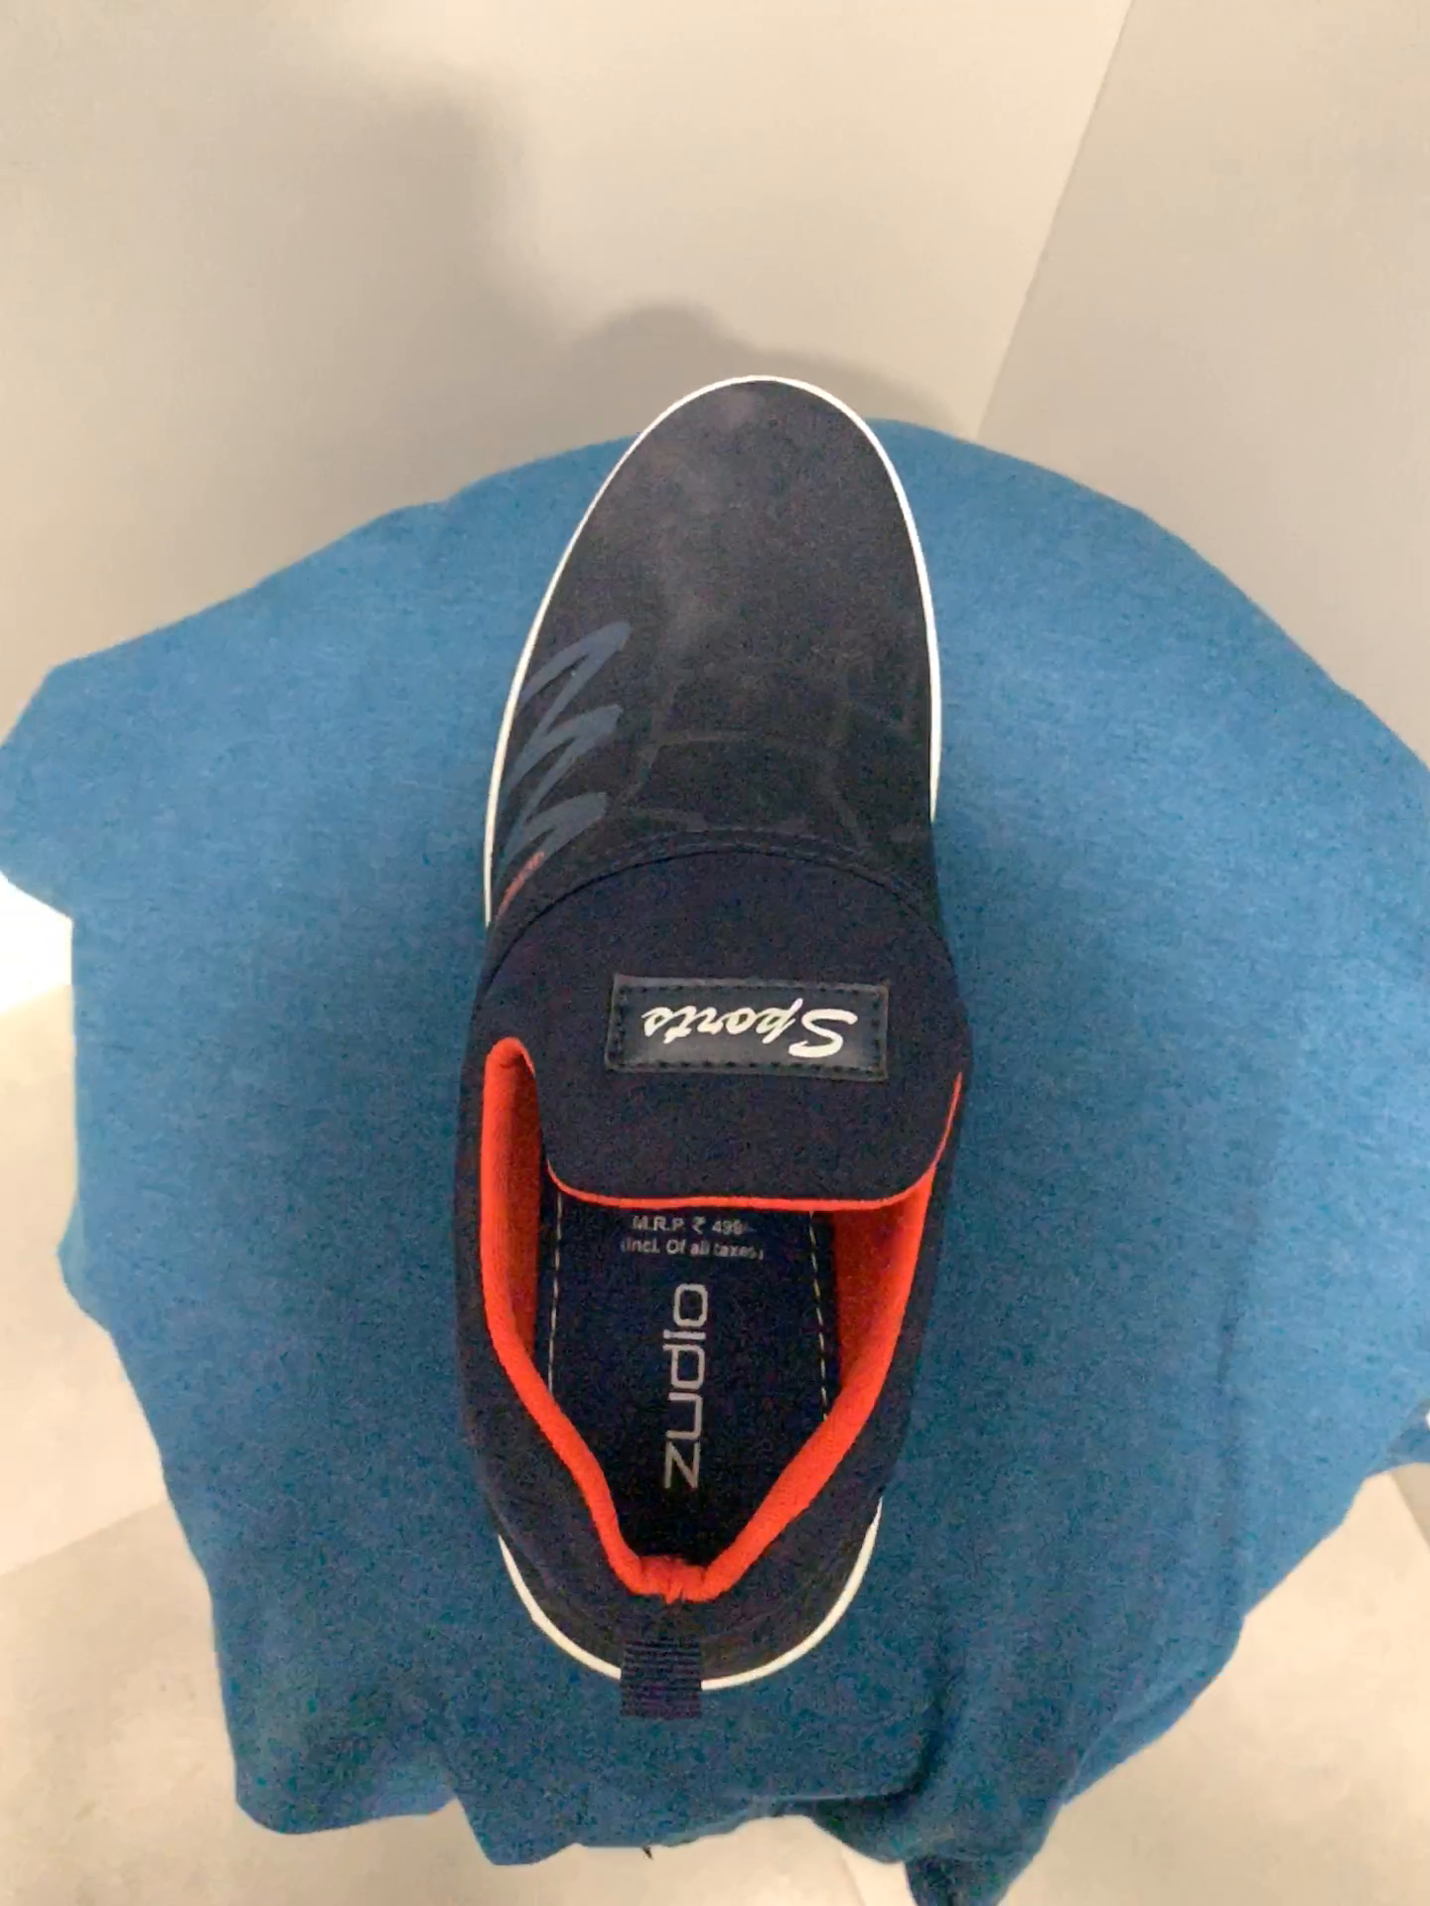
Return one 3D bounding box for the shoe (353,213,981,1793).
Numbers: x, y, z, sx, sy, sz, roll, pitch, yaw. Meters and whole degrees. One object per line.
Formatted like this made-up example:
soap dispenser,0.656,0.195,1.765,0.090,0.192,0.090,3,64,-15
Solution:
shoe,-0.003,0.004,0.290,0.090,0.100,0.260,2,77,-1
